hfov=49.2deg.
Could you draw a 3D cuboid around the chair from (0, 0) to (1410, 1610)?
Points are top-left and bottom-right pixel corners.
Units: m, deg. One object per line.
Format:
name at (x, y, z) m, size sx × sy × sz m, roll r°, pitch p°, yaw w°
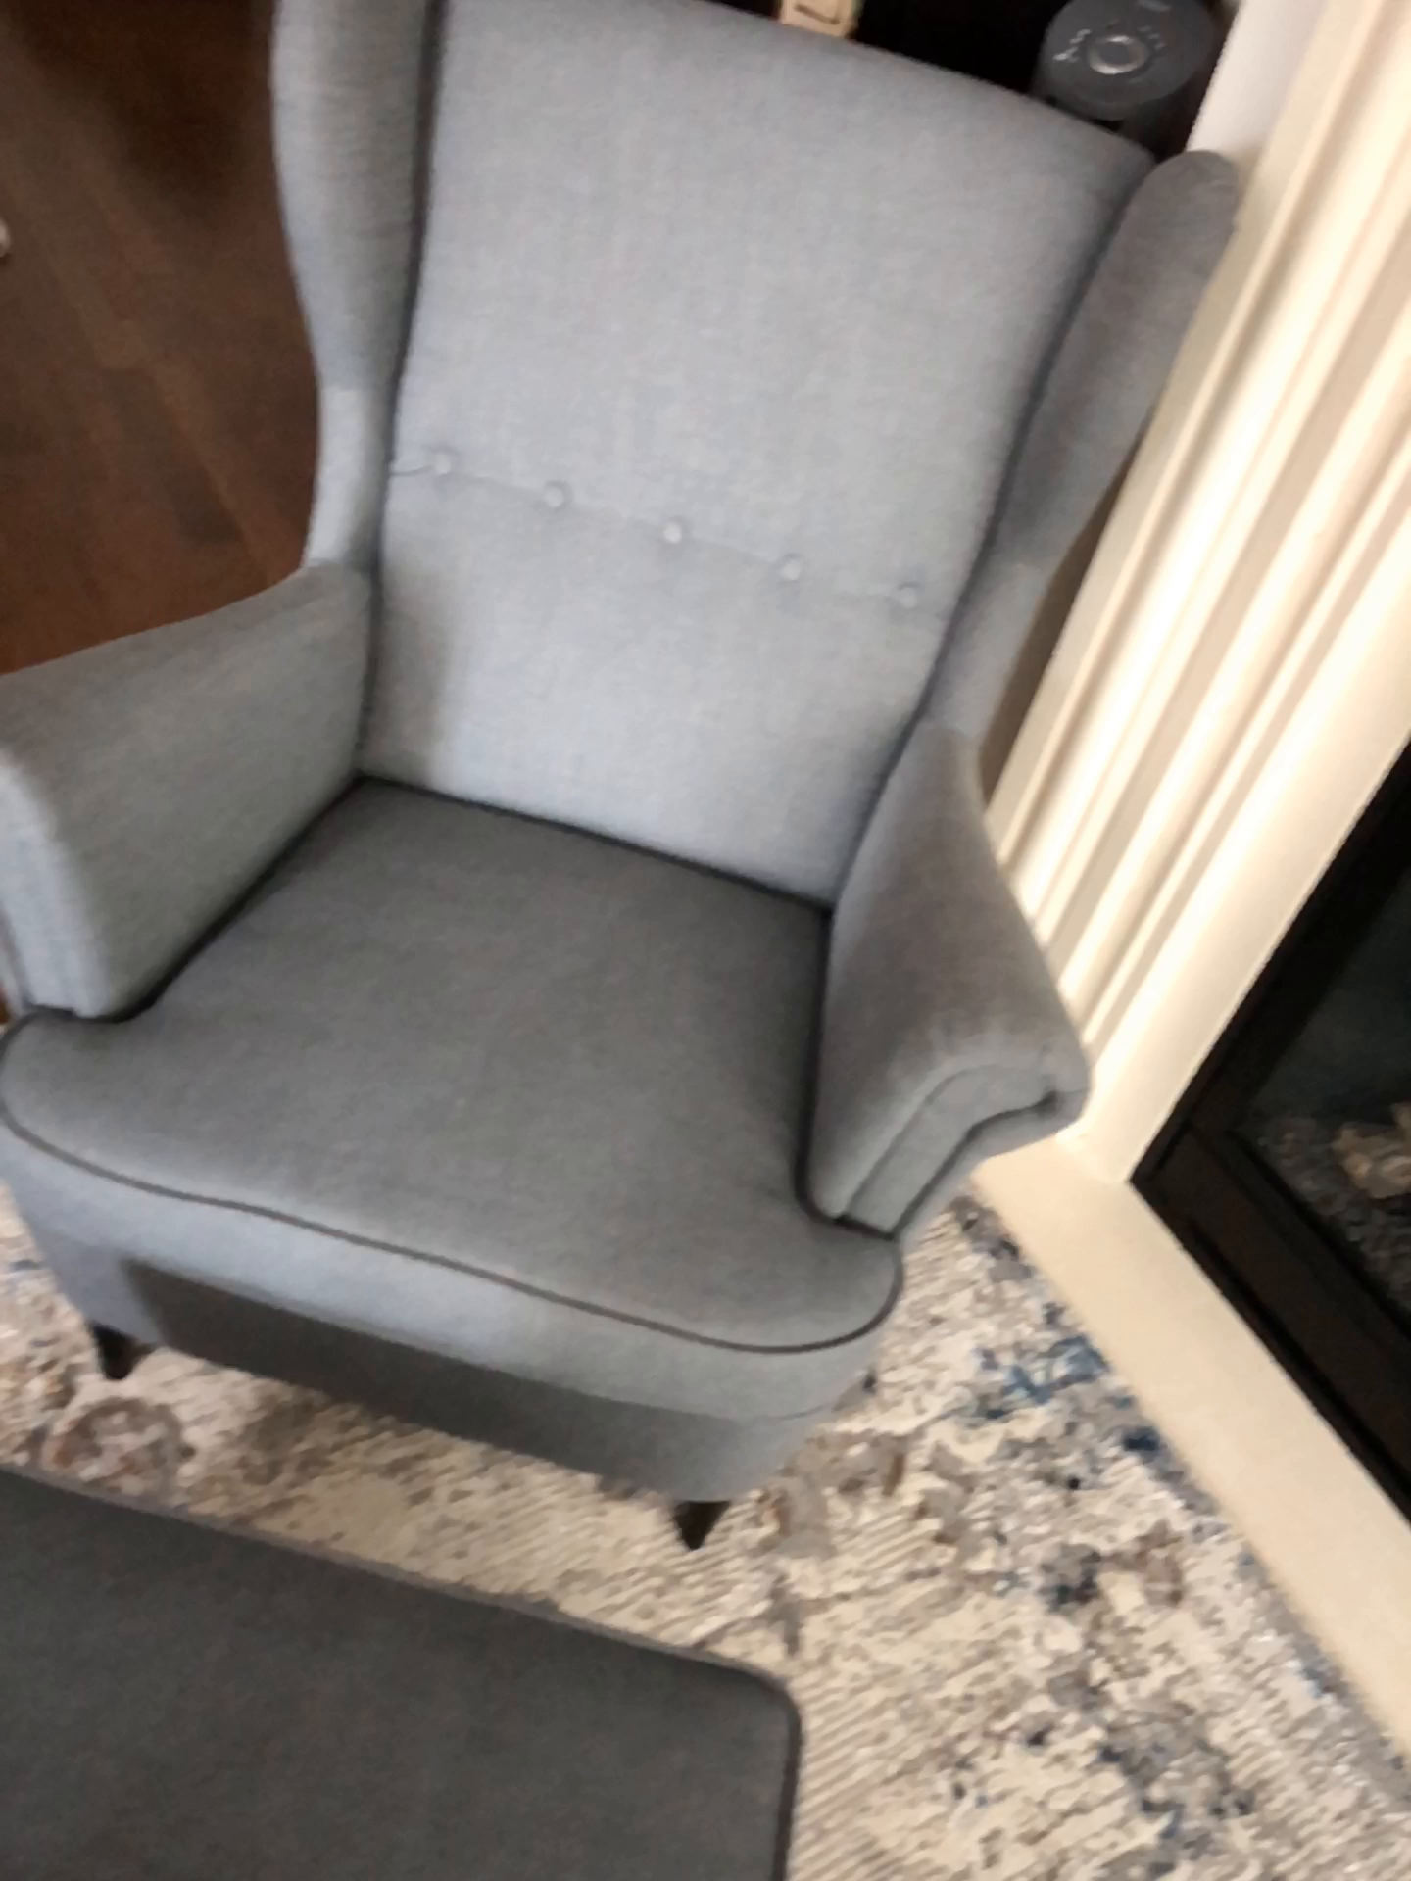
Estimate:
chair at (-0.119, -0.174, 1.255) m, size 0.800 × 0.966 × 0.853 m, roll 15°, pitch 43°, yaw 0°
